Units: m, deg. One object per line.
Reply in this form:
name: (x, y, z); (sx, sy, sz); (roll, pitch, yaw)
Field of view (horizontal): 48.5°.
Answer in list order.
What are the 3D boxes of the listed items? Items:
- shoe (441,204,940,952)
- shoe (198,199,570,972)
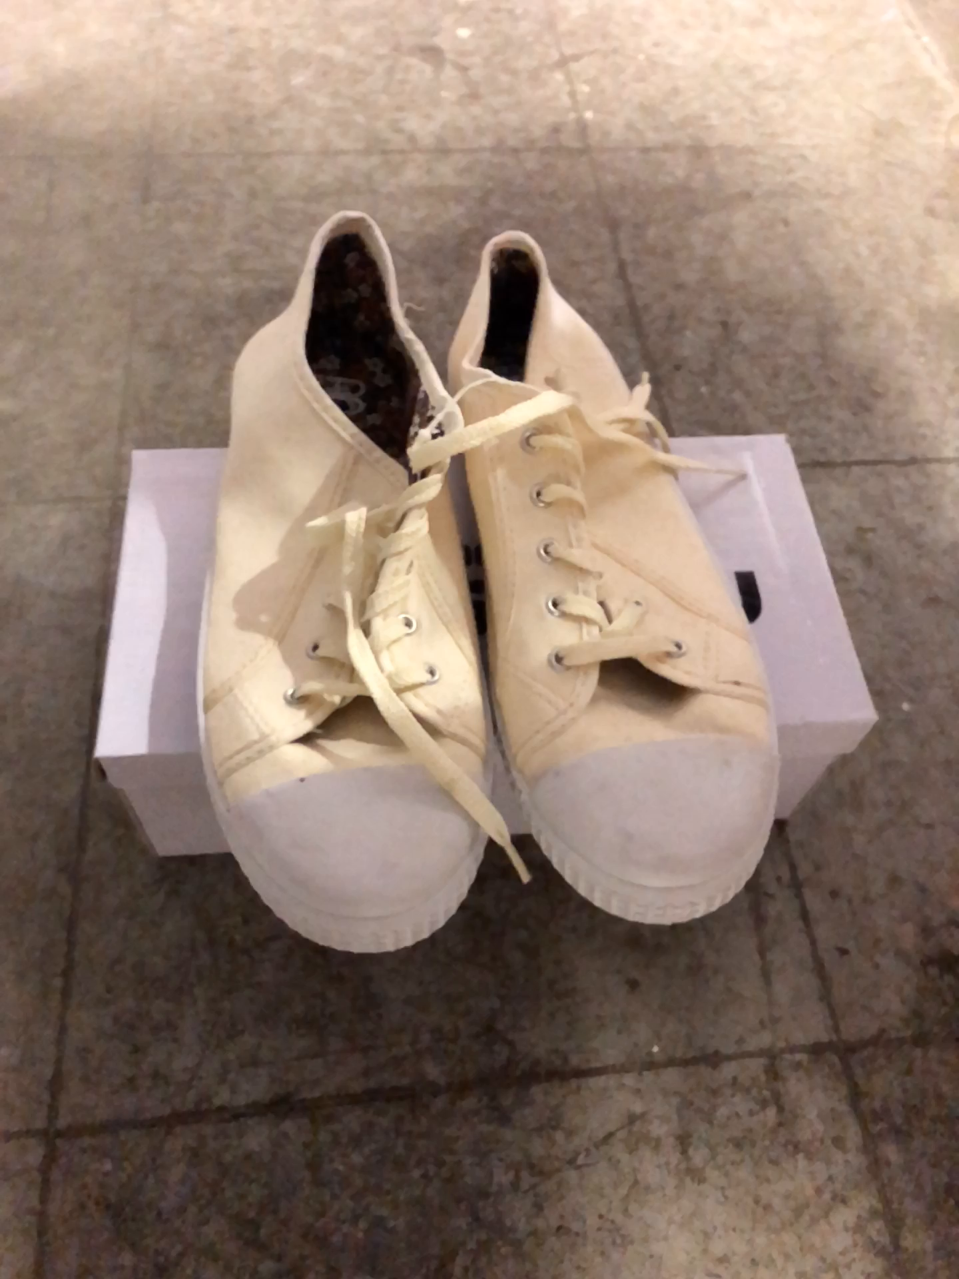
shoe: (0.049, -0.035, 0.363); (0.100, 0.080, 0.251); (-4, 57, -6)
shoe: (-0.039, -0.034, 0.362); (0.090, 0.080, 0.262); (-4, 57, -6)
